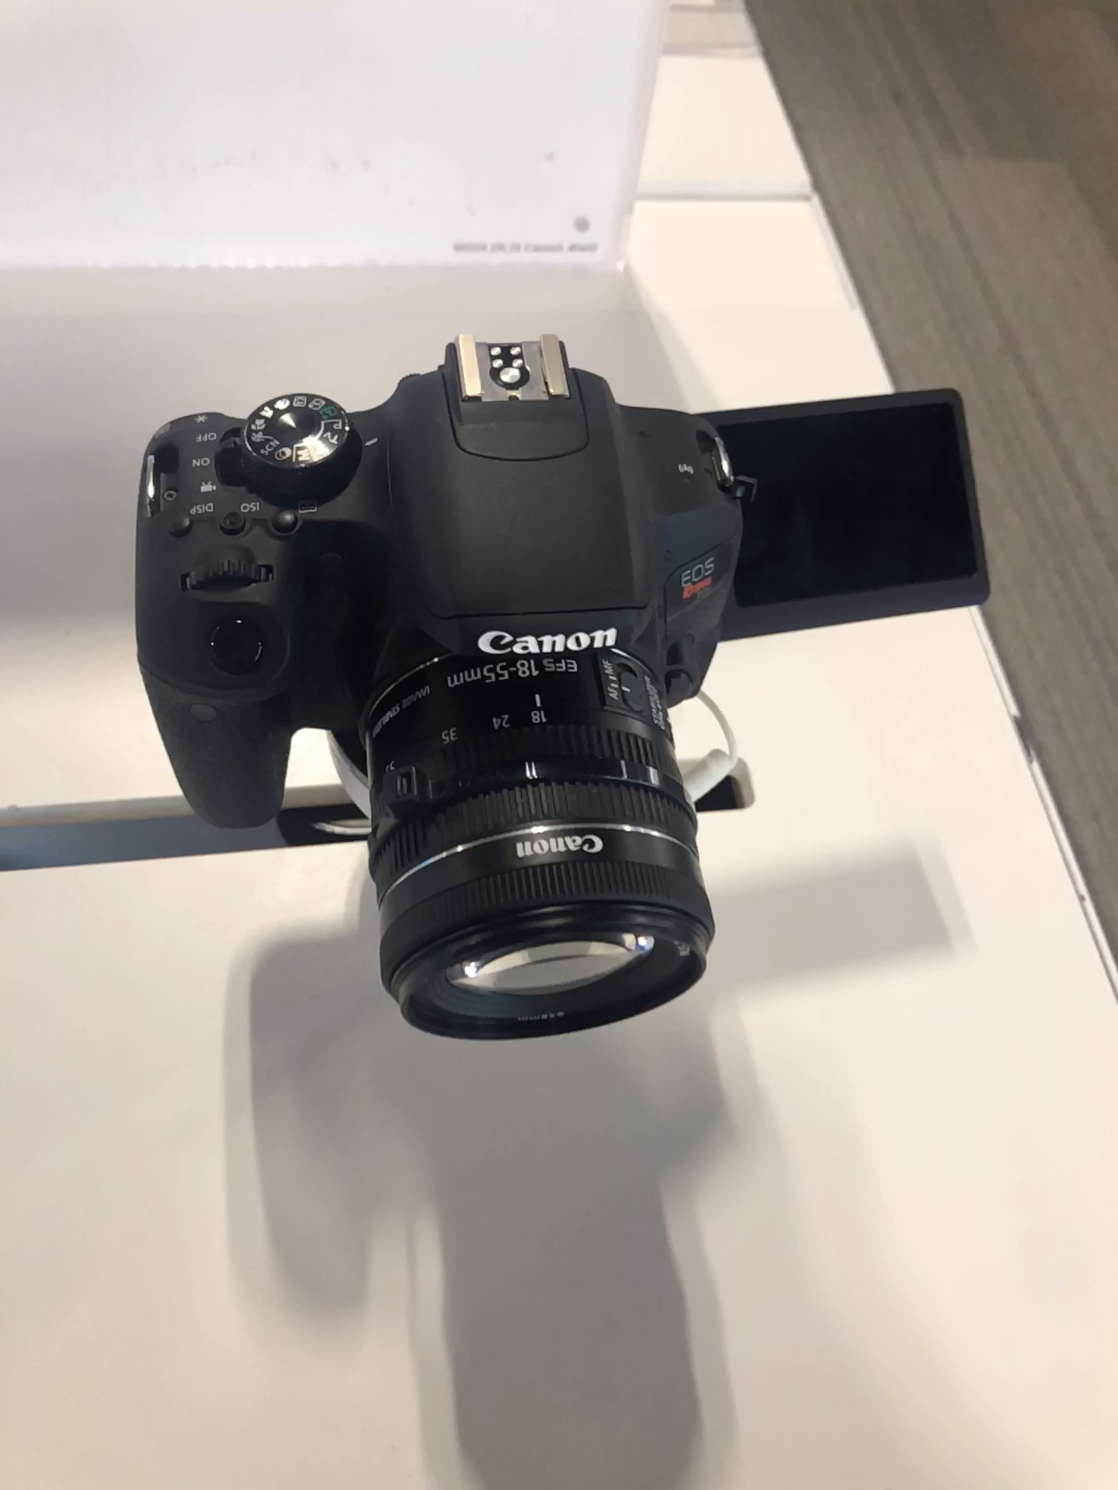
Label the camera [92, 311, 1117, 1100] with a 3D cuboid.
[{"bbox_3d":[0.023,-0.009,0.260,0.210,0.100,0.110,-6,60,-10],"label":"camera"}]
